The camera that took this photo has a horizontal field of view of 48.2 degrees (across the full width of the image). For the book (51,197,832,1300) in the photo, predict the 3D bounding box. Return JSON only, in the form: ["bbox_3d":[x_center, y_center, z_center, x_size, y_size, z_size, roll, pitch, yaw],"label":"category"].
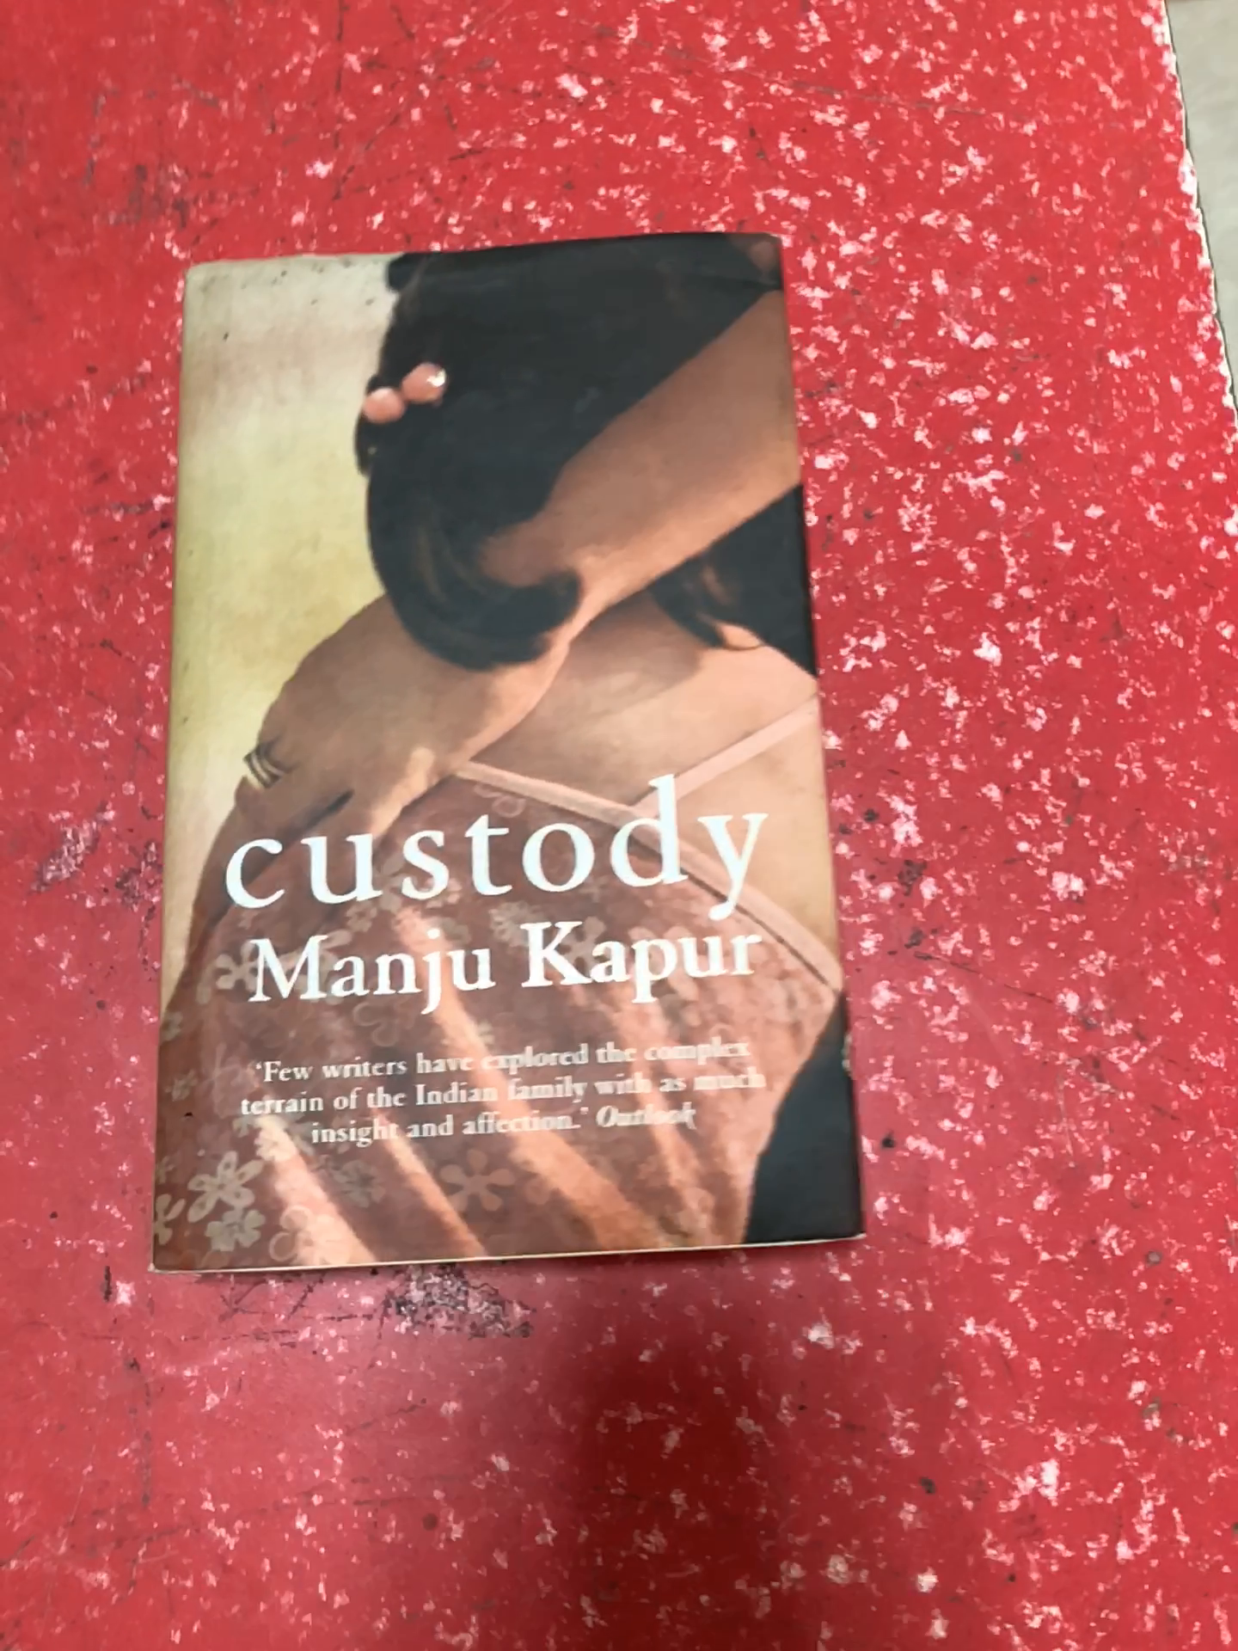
[{"bbox_3d":[-0.038,-0.021,0.294,0.140,0.040,0.220,-4,75,1],"label":"book"}]
